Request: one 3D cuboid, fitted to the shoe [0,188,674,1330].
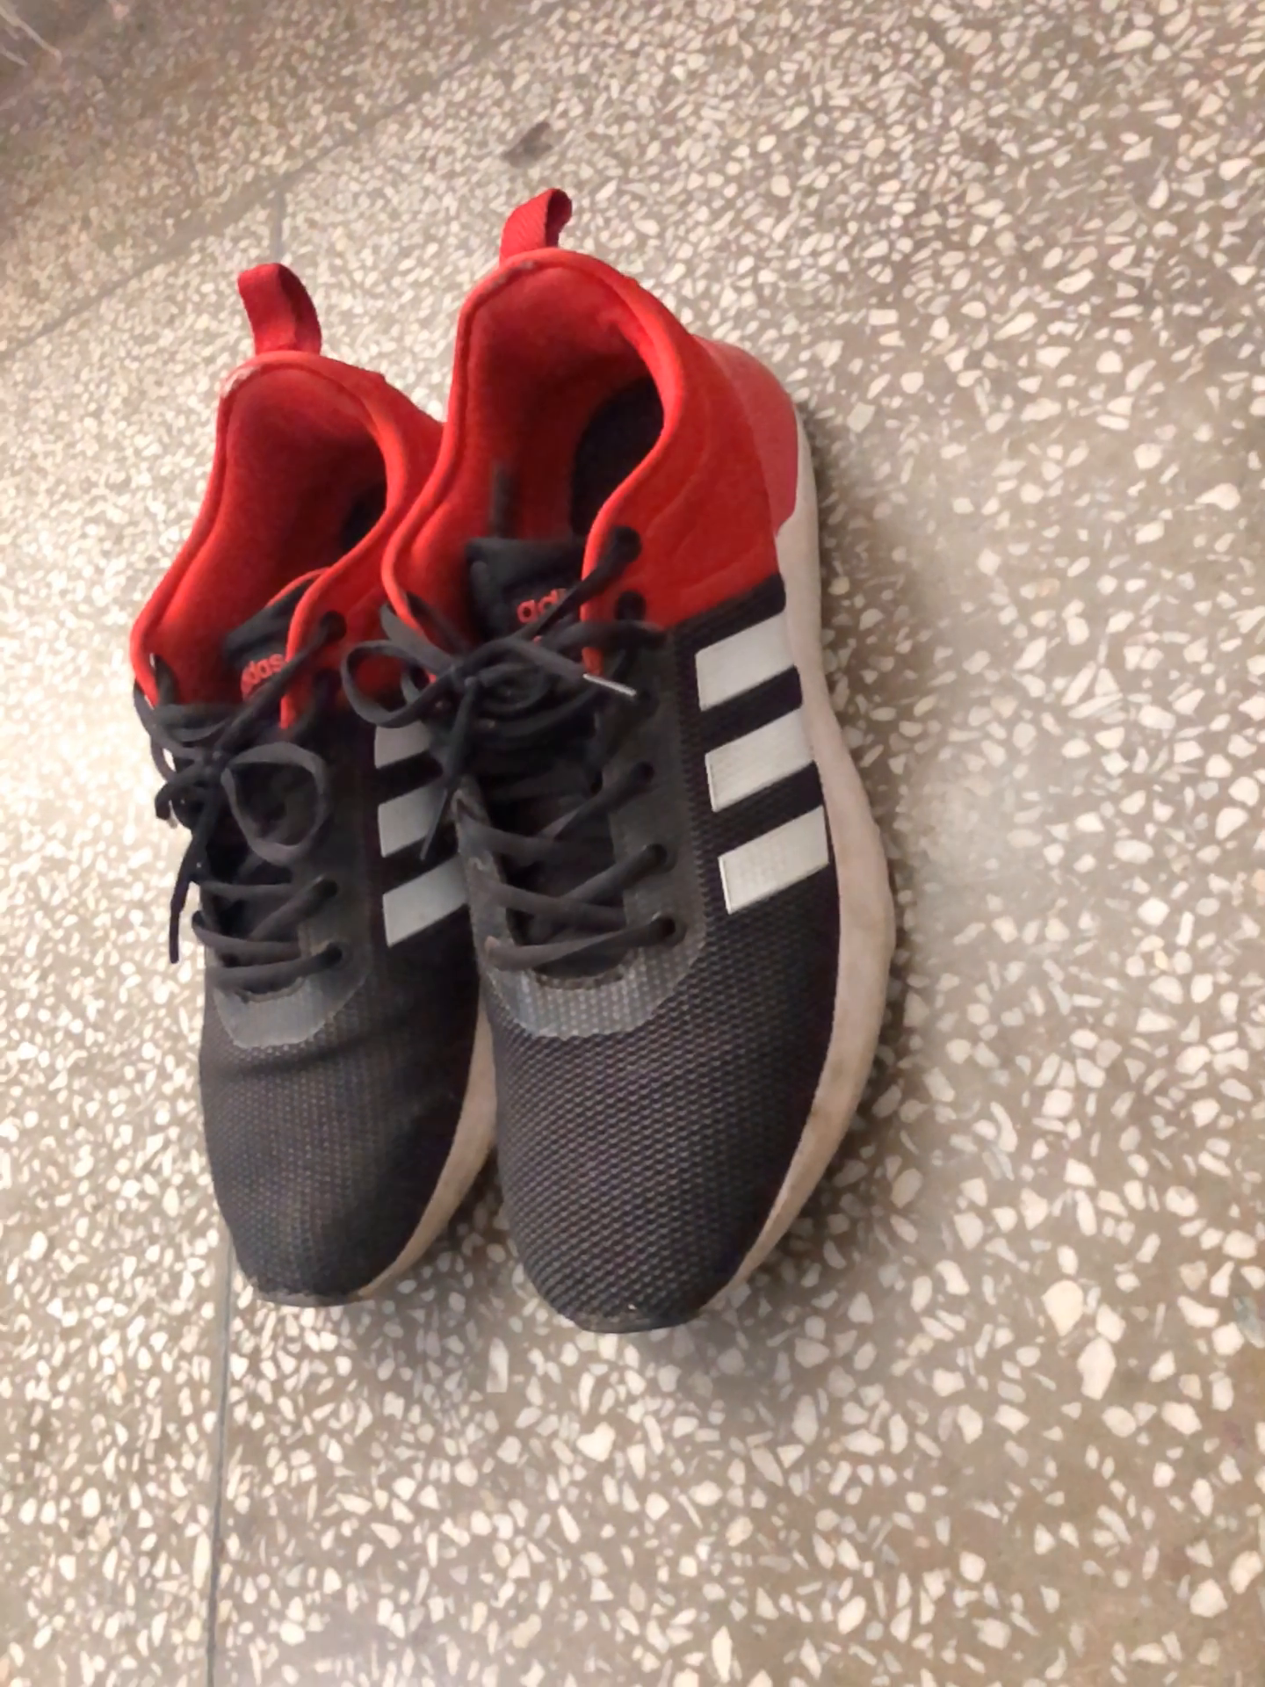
[{"bbox_3d":[-0.085,-0.016,0.447,0.131,0.139,0.310,-9,67,30],"label":"shoe"}]

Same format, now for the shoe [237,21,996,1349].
[{"bbox_3d":[0.009,-0.032,0.397,0.131,0.139,0.320,-10,66,30],"label":"shoe"}]
